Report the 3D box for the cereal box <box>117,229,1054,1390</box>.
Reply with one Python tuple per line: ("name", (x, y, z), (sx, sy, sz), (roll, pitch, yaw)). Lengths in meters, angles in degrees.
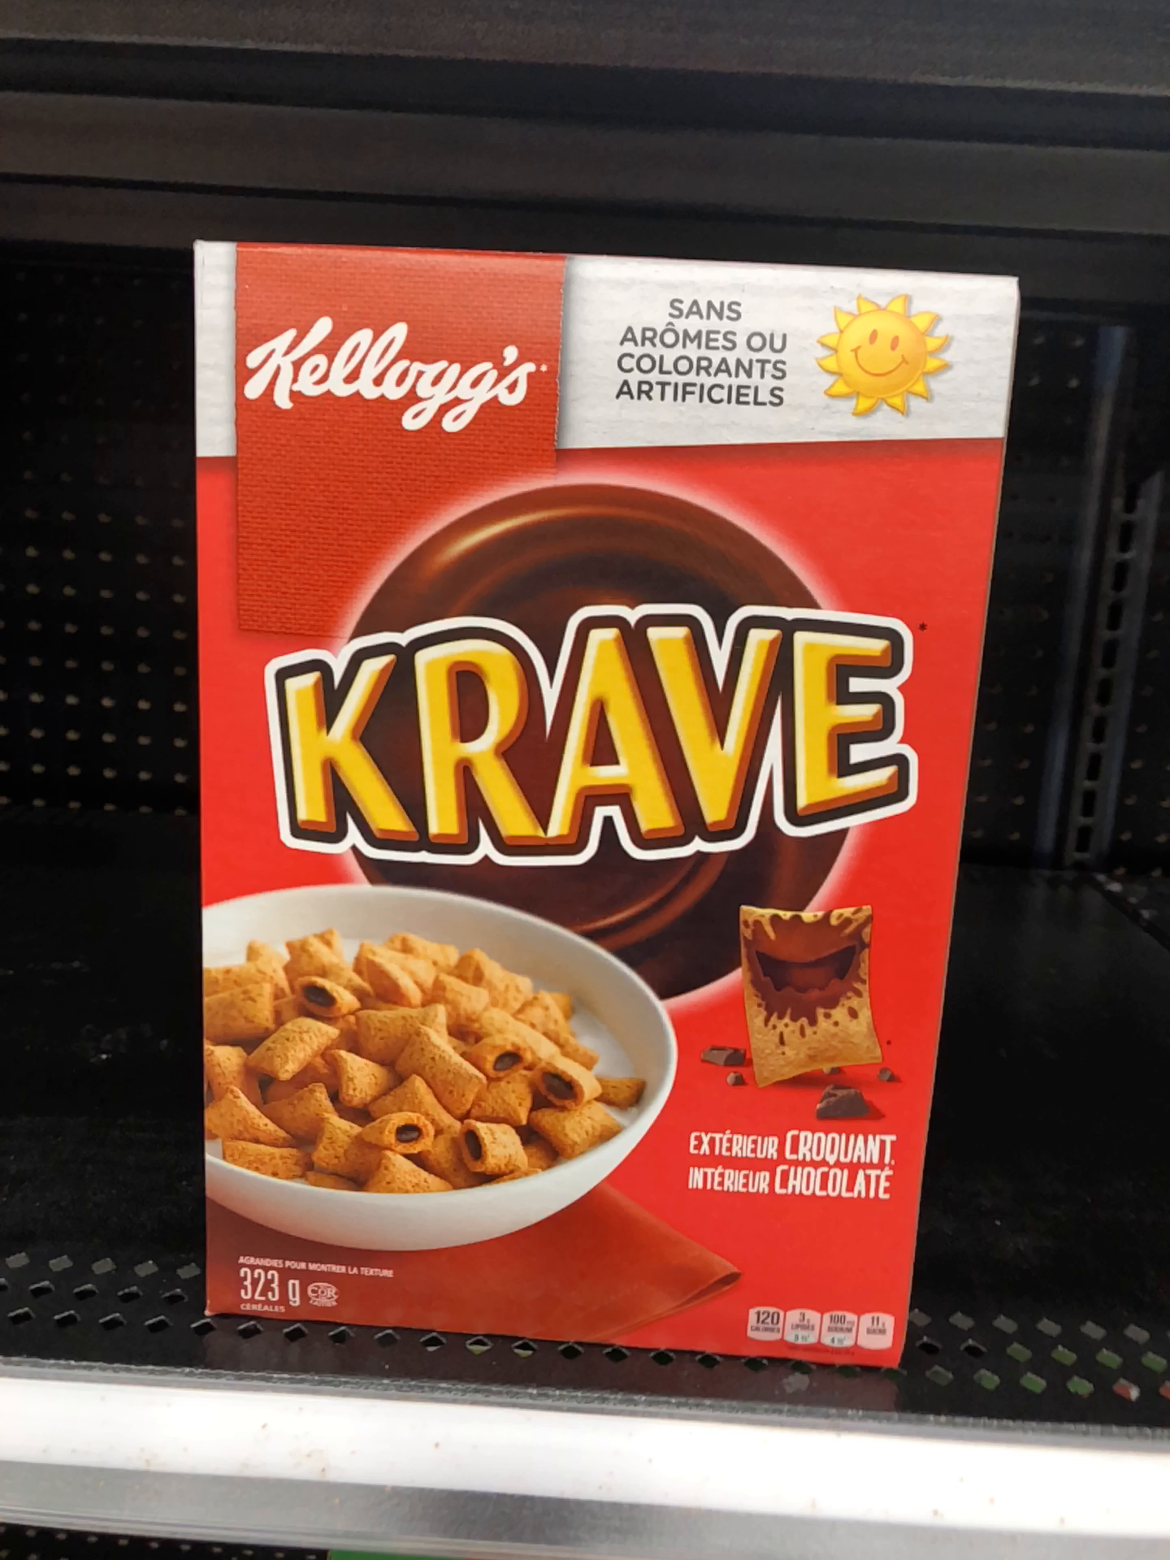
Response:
("cereal box", (-0.008, 0.013, 0.343), (0.210, 0.279, 0.050), (4, 12, 2))
